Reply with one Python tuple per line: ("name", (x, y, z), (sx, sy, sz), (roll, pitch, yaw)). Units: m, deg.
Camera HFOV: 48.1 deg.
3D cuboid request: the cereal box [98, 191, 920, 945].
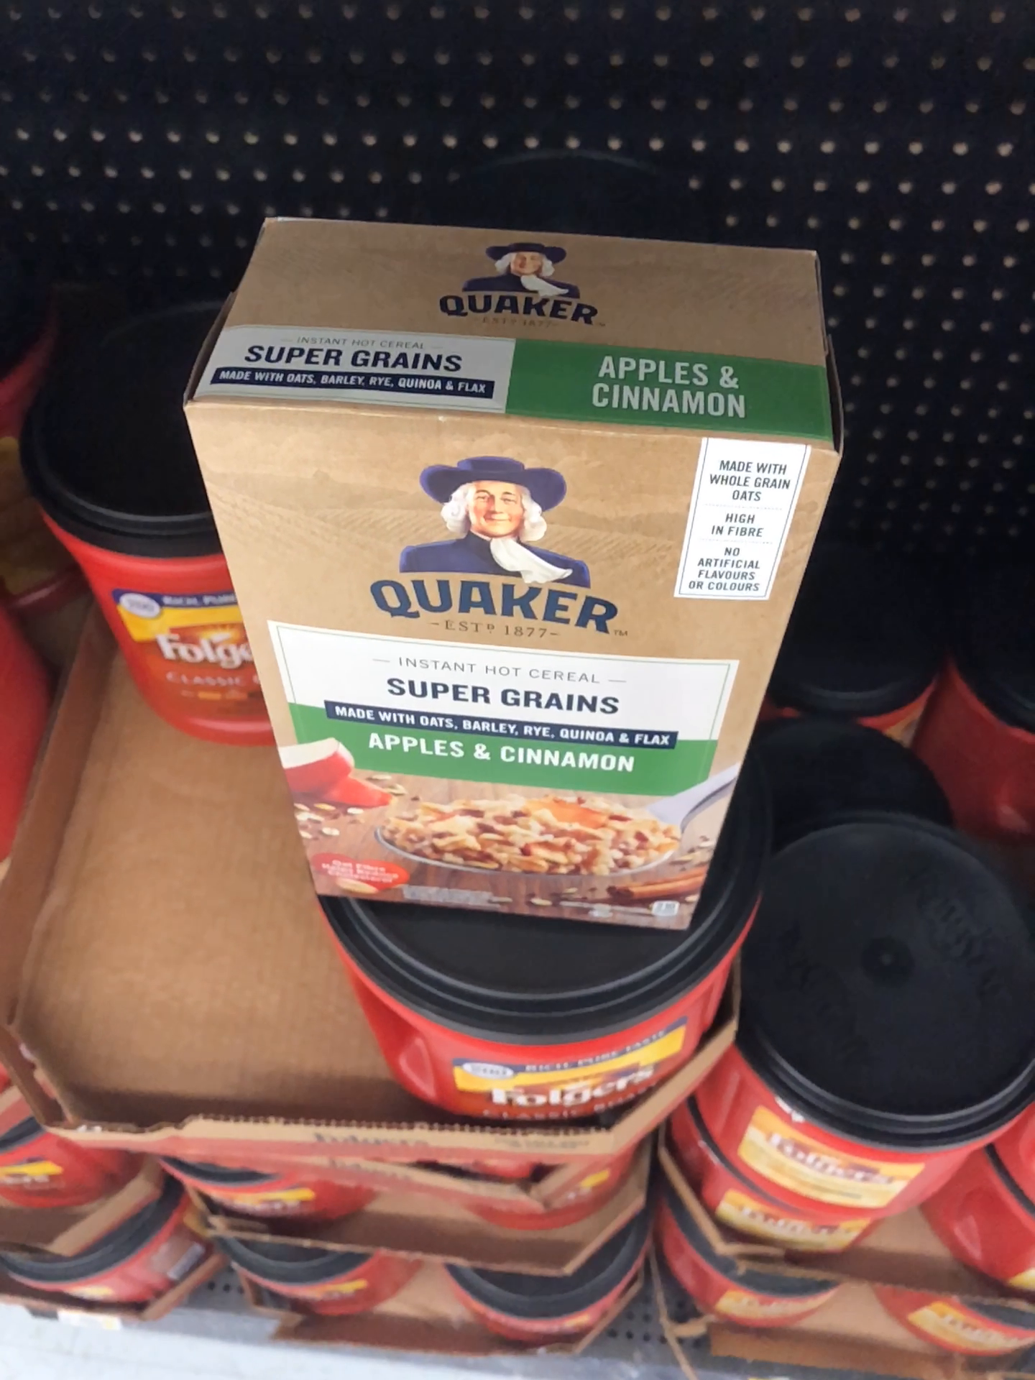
("cereal box", (0.002, -0.012, 0.294), (0.140, 0.199, 0.060), (6, 55, 5))
